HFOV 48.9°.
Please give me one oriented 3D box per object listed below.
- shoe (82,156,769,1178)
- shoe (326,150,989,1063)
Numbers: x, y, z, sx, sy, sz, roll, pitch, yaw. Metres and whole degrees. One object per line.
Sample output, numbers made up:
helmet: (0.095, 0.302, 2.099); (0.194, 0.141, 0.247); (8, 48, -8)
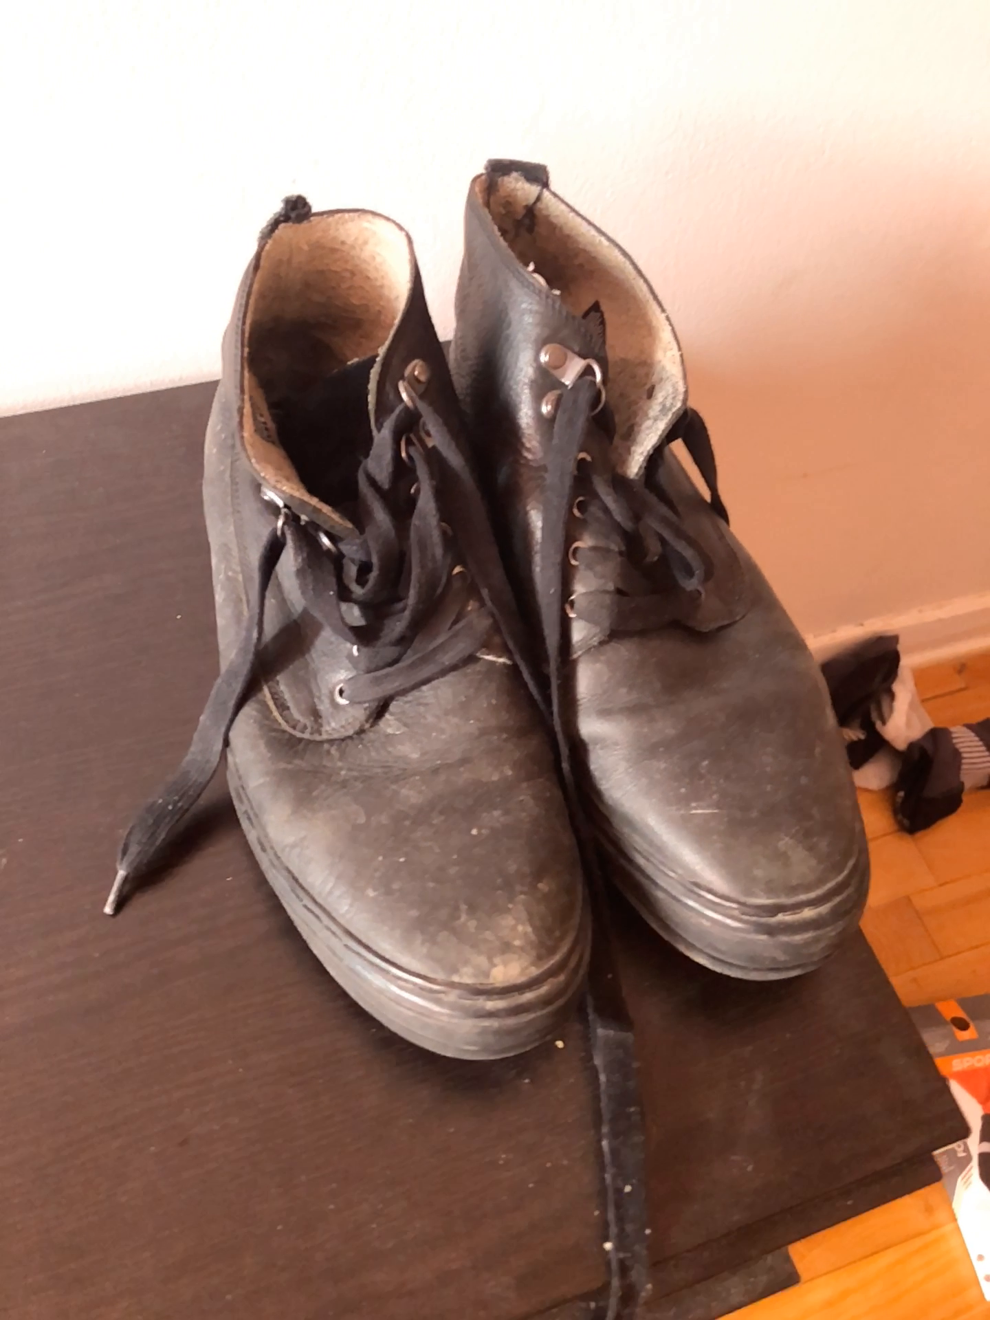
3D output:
shoe: (-0.049, -0.026, 0.383); (0.120, 0.109, 0.342); (-13, 57, -14)
shoe: (0.048, -0.046, 0.422); (0.120, 0.109, 0.342); (-17, 58, -16)
